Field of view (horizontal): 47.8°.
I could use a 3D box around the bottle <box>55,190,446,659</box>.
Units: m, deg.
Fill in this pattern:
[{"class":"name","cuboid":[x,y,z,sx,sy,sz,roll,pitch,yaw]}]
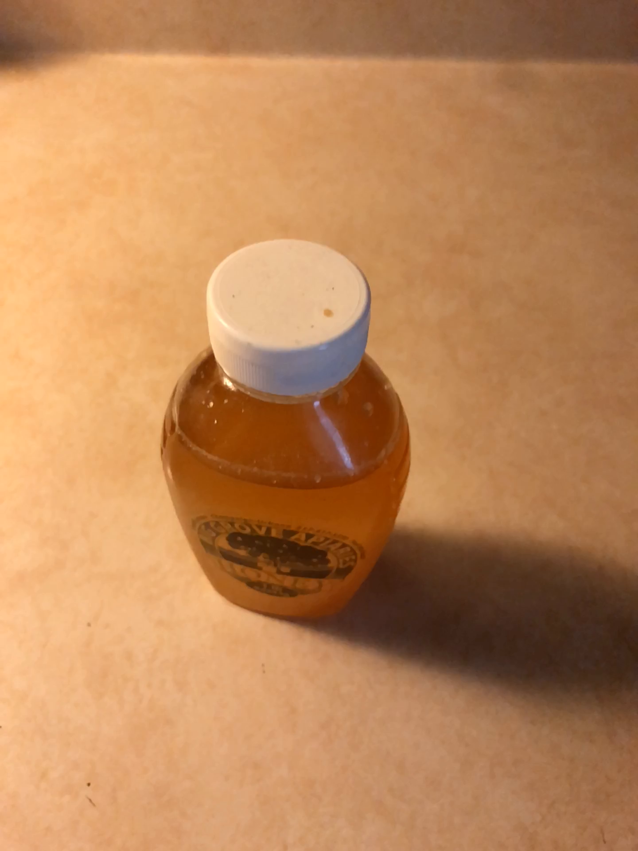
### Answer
[{"class":"bottle","cuboid":[-0.014,0.011,0.222,0.080,0.140,0.060,8,51,4]}]
